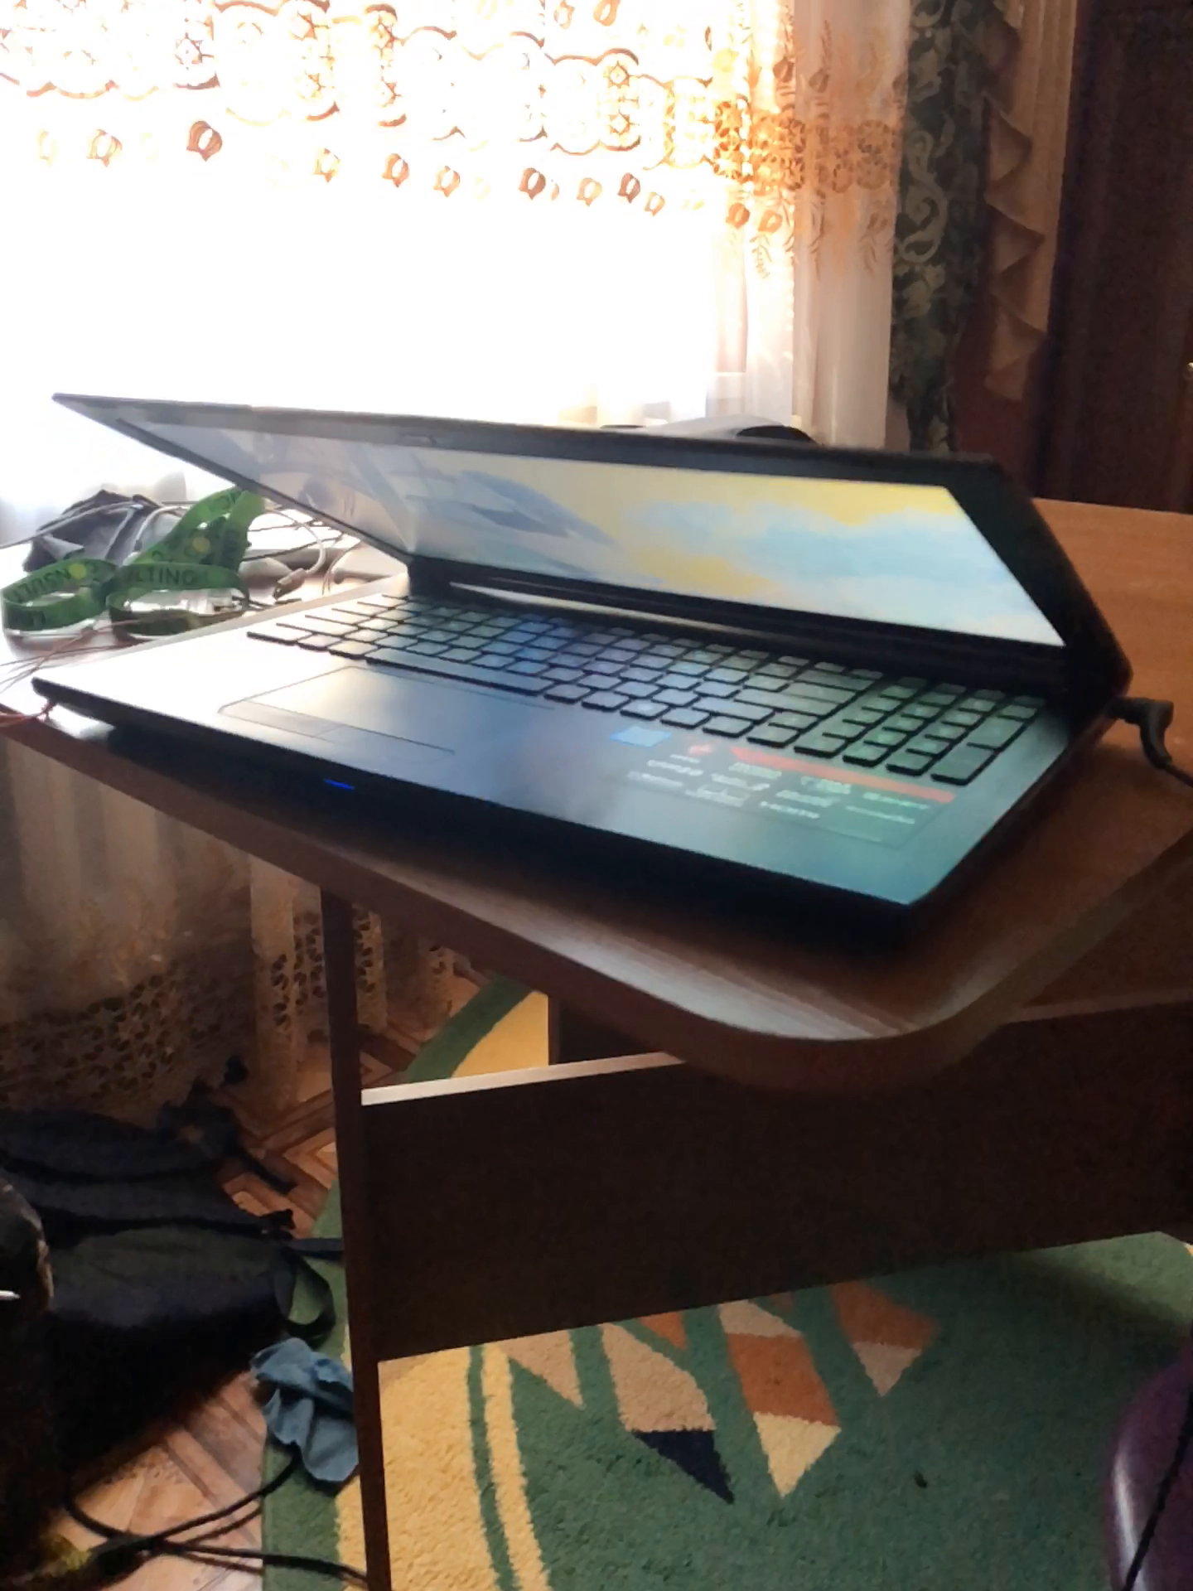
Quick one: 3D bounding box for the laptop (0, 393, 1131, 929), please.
[{"bbox_3d":[-0.019,-0.089,0.500,0.372,0.095,0.239,13,25,32],"label":"laptop"}]
